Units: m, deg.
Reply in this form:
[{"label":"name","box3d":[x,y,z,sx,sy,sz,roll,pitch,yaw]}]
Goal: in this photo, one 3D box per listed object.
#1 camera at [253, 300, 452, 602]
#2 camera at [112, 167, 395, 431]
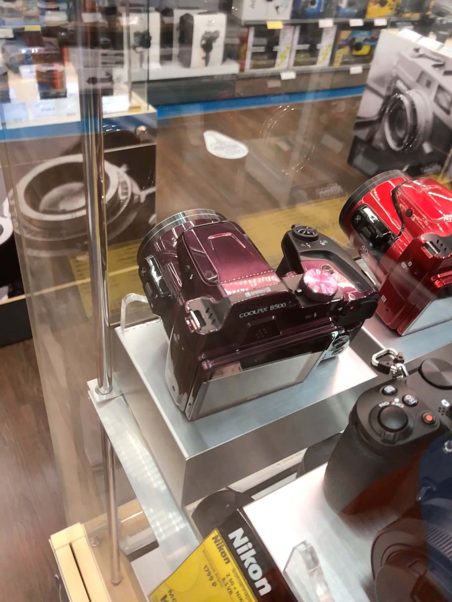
[{"label":"camera","box3d":[0.091,0.084,0.184,0.100,0.084,0.134,-14,46,-24]},{"label":"camera","box3d":[0.007,-0.009,0.279,0.109,0.080,0.100,-14,46,-24]}]
